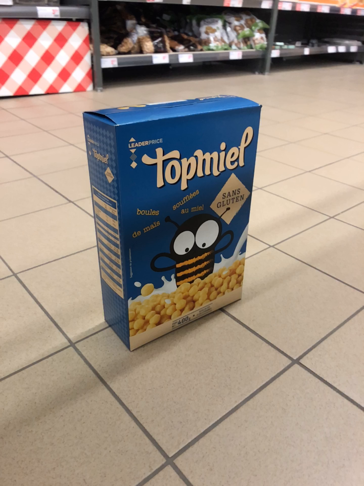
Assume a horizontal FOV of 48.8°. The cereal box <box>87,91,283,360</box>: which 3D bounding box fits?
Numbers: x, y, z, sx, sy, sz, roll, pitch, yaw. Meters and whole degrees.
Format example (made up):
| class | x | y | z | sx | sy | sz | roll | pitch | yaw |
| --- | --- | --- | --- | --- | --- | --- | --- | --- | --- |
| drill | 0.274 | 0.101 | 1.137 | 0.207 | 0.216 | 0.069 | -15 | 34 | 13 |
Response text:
| class | x | y | z | sx | sy | sz | roll | pitch | yaw |
| --- | --- | --- | --- | --- | --- | --- | --- | --- | --- |
| cereal box | 0.005 | -0.026 | 0.493 | 0.201 | 0.278 | 0.080 | -19 | 36 | -33 |
